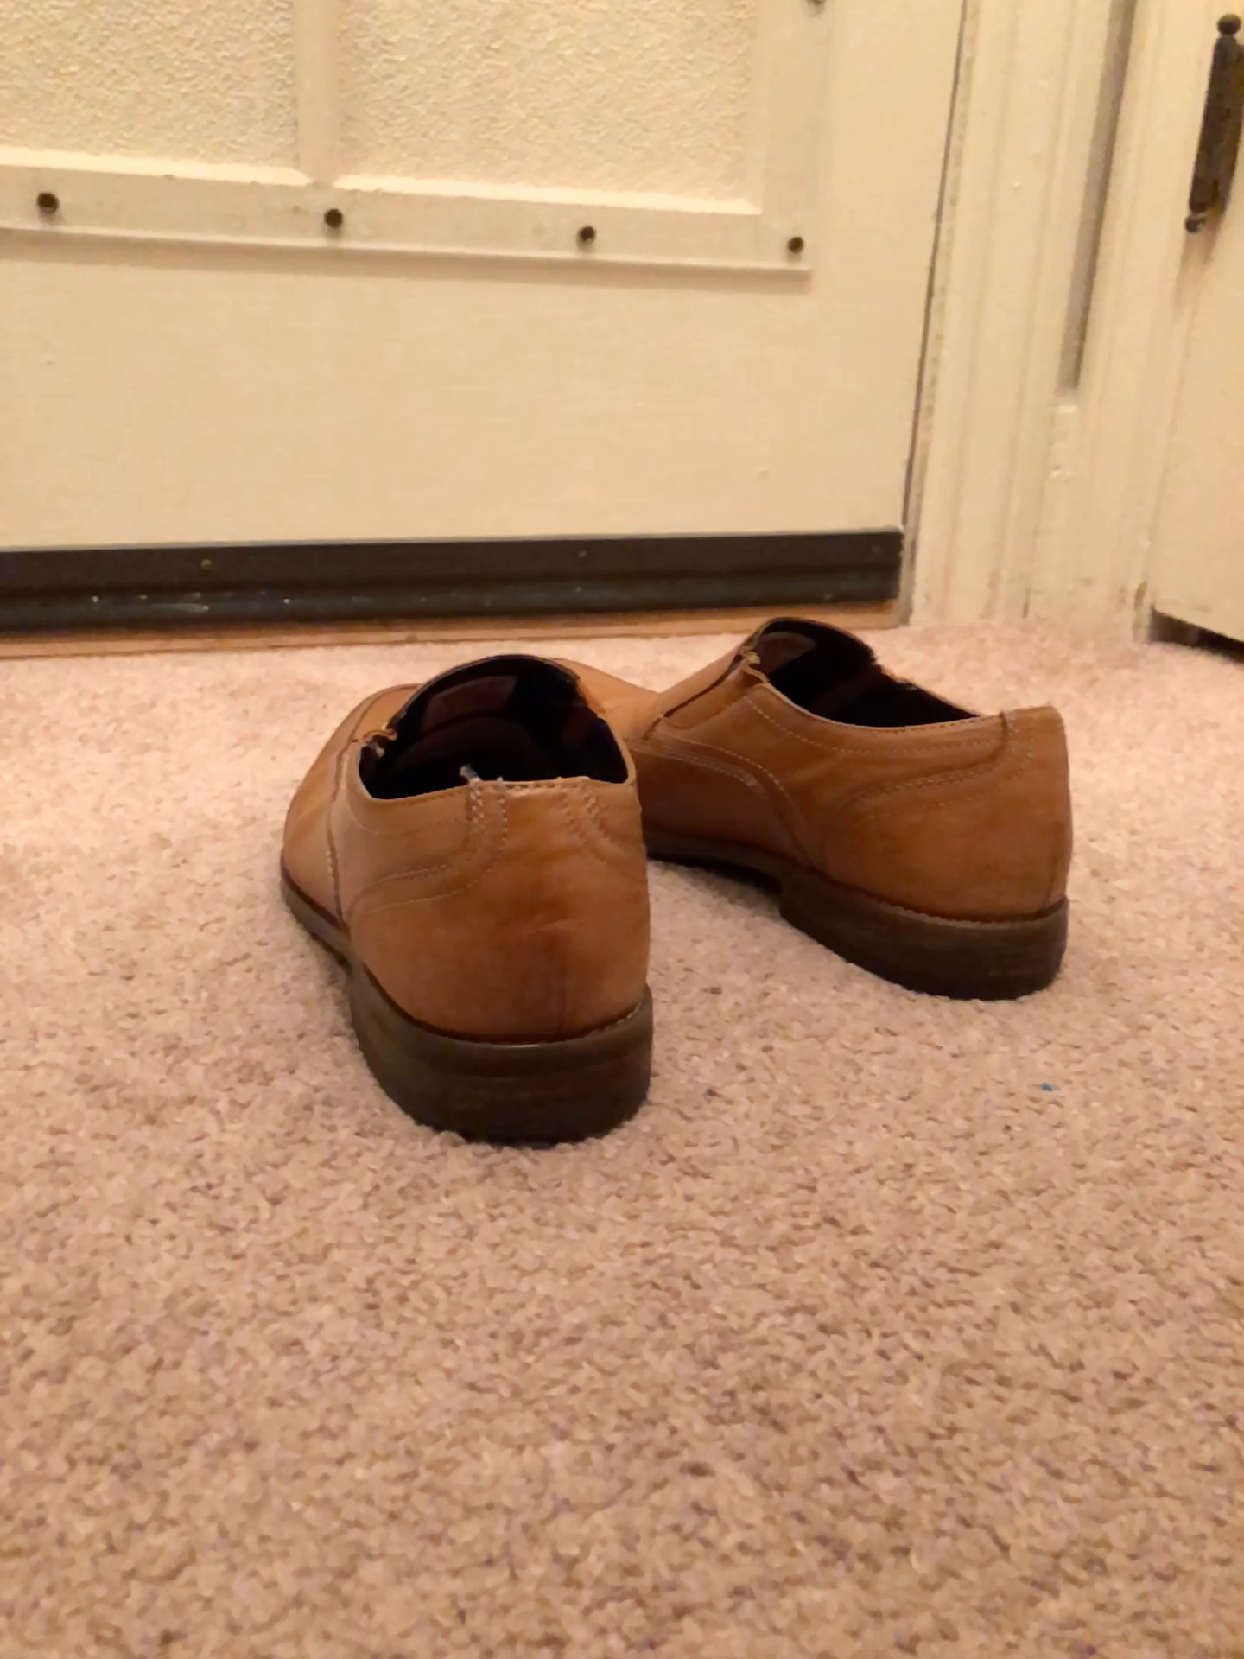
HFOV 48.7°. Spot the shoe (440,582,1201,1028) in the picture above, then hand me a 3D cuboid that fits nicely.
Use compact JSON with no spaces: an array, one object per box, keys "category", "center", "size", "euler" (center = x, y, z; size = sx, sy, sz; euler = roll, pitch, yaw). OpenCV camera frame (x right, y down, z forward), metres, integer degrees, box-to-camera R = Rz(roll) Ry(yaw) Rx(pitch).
[{"category":"shoe","center":[0.052,-0.032,0.546],"size":[0.107,0.089,0.311],"euler":[-12,22,-34]}]

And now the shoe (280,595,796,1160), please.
[{"category":"shoe","center":[-0.054,-0.014,0.477],"size":[0.100,0.090,0.321],"euler":[-4,18,-17]}]
